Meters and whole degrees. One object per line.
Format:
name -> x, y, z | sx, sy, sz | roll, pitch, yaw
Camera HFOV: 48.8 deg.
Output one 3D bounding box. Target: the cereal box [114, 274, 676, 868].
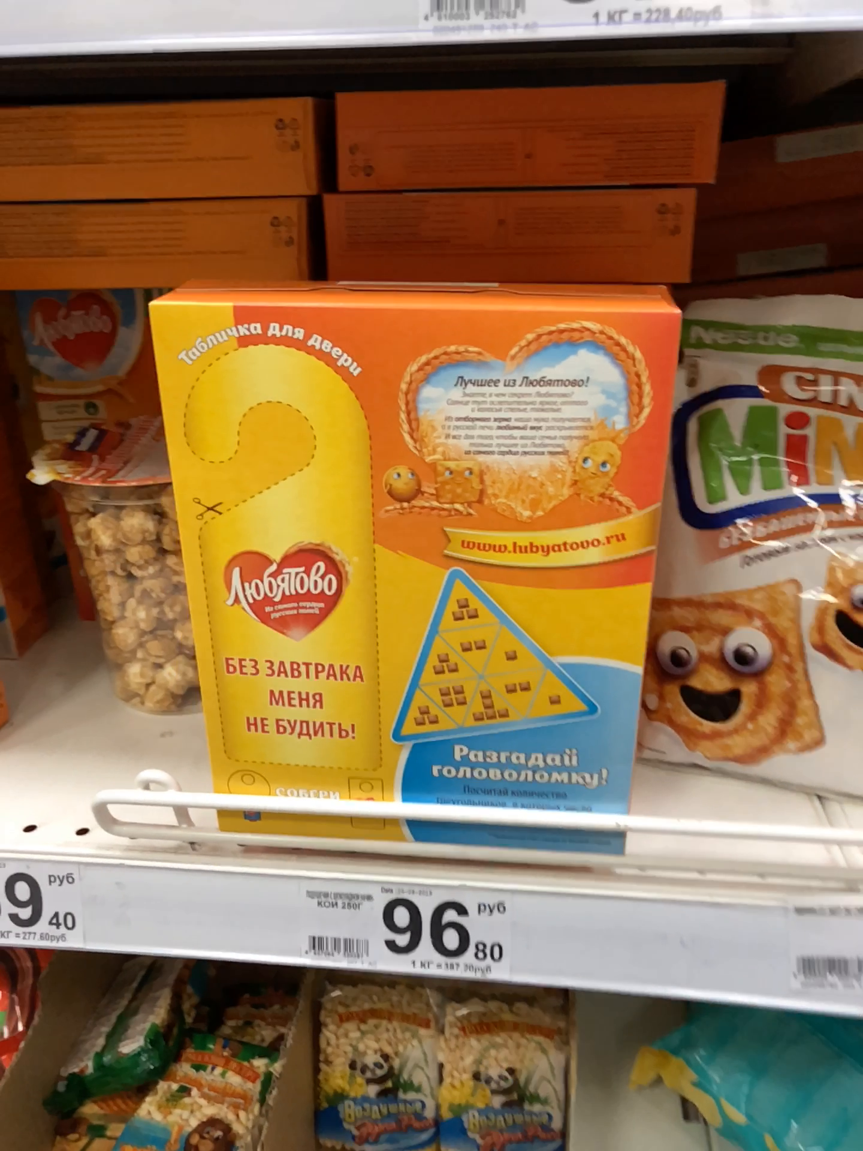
cereal box -> -0.010, 0.004, 0.375 | 0.180, 0.229, 0.050 | 2, 26, 6
